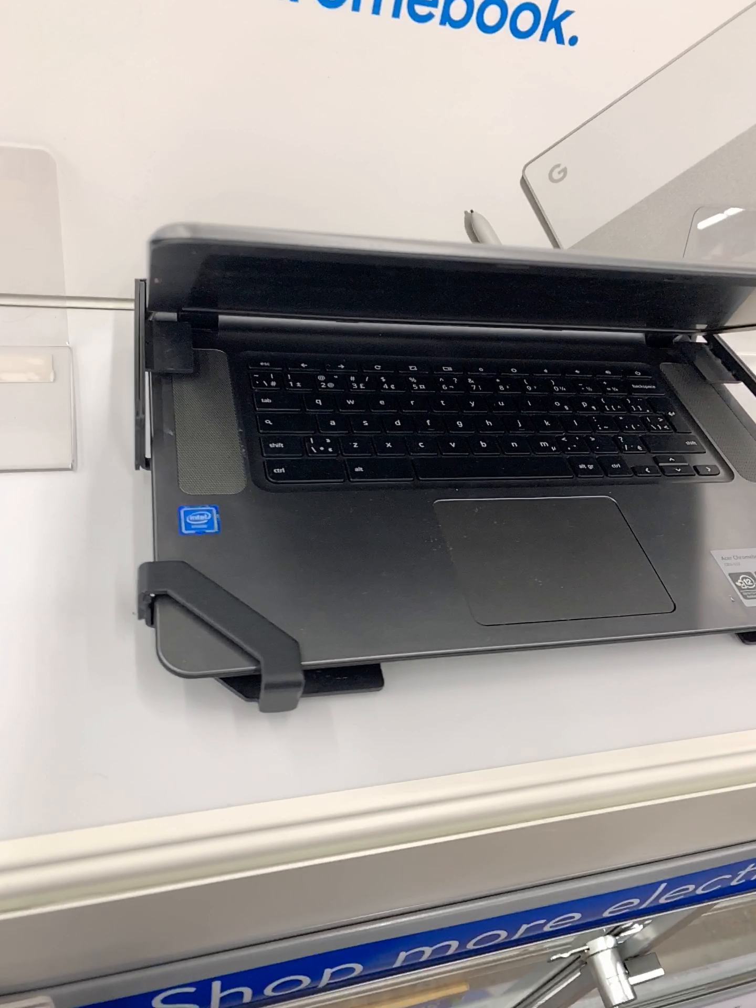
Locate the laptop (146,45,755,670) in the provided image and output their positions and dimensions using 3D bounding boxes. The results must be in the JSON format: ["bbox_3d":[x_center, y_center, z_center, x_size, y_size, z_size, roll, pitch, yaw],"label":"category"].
[{"bbox_3d":[0.068,-0.063,0.311,0.301,0.116,0.194,-2,48,-17],"label":"laptop"}]
